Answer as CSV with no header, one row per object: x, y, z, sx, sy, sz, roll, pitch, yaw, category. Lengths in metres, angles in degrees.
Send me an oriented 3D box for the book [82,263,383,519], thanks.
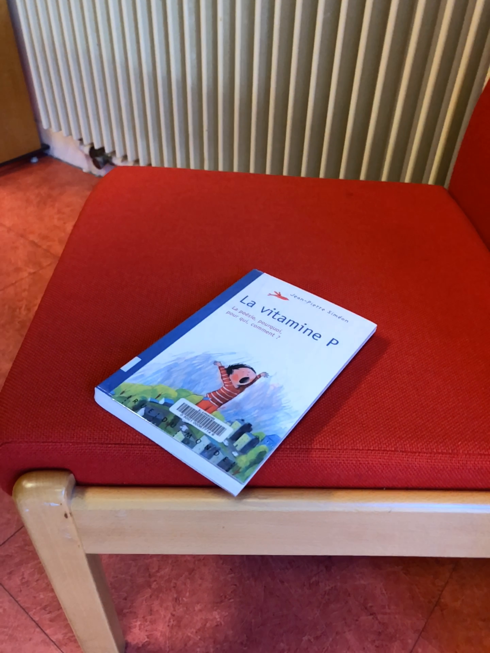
-0.001,0.033,0.453,0.147,0.027,0.216,27,47,26,book
